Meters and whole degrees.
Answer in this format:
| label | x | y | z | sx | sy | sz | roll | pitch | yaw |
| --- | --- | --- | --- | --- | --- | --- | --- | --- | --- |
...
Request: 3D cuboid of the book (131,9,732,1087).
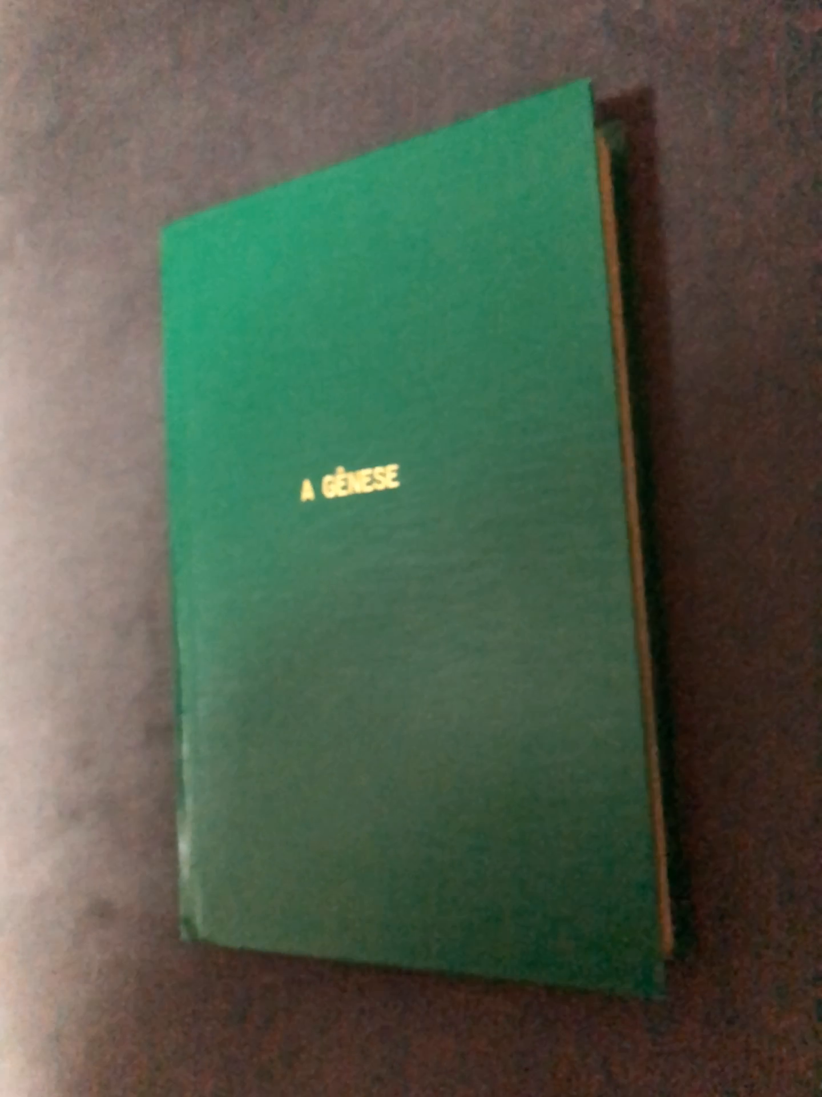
| label | x | y | z | sx | sy | sz | roll | pitch | yaw |
| --- | --- | --- | --- | --- | --- | --- | --- | --- | --- |
| book | -0.005 | 0.001 | 0.257 | 0.150 | 0.040 | 0.240 | -7 | 82 | 28 |
